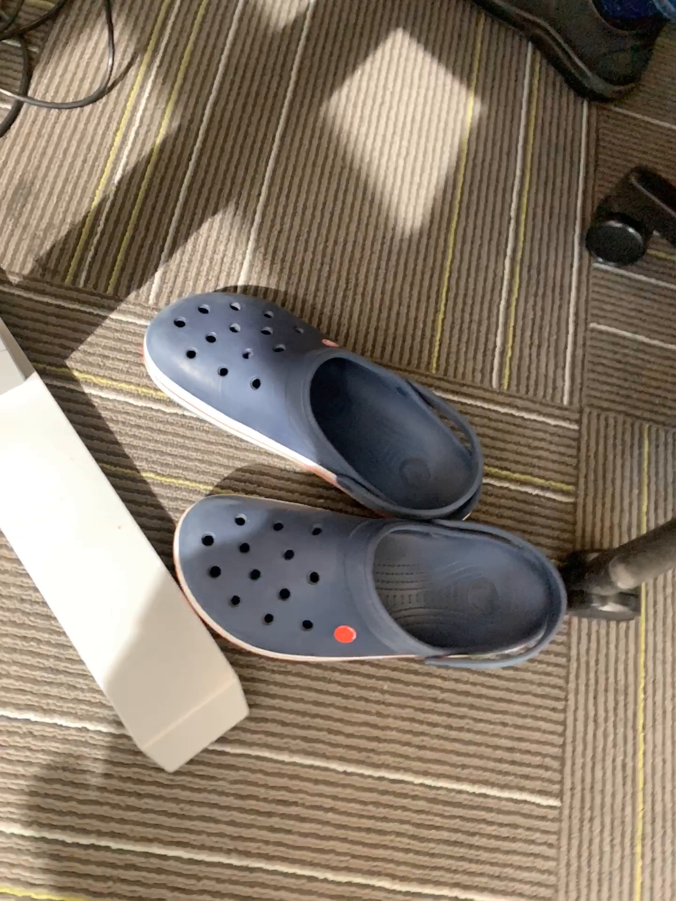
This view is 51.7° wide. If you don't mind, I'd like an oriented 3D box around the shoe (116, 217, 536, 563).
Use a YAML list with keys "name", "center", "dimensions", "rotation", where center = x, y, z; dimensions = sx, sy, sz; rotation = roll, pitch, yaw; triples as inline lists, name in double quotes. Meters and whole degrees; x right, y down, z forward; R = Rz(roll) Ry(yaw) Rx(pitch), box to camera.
- name: "shoe"
  center: [-0.010, -0.048, 0.598]
  dimensions: [0.320, 0.080, 0.130]
  rotation: [31, 69, -1]

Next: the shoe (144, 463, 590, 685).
- name: "shoe"
  center: [0.027, 0.105, 0.560]
  dimensions: [0.330, 0.080, 0.130]
  rotation: [8, 71, -9]
